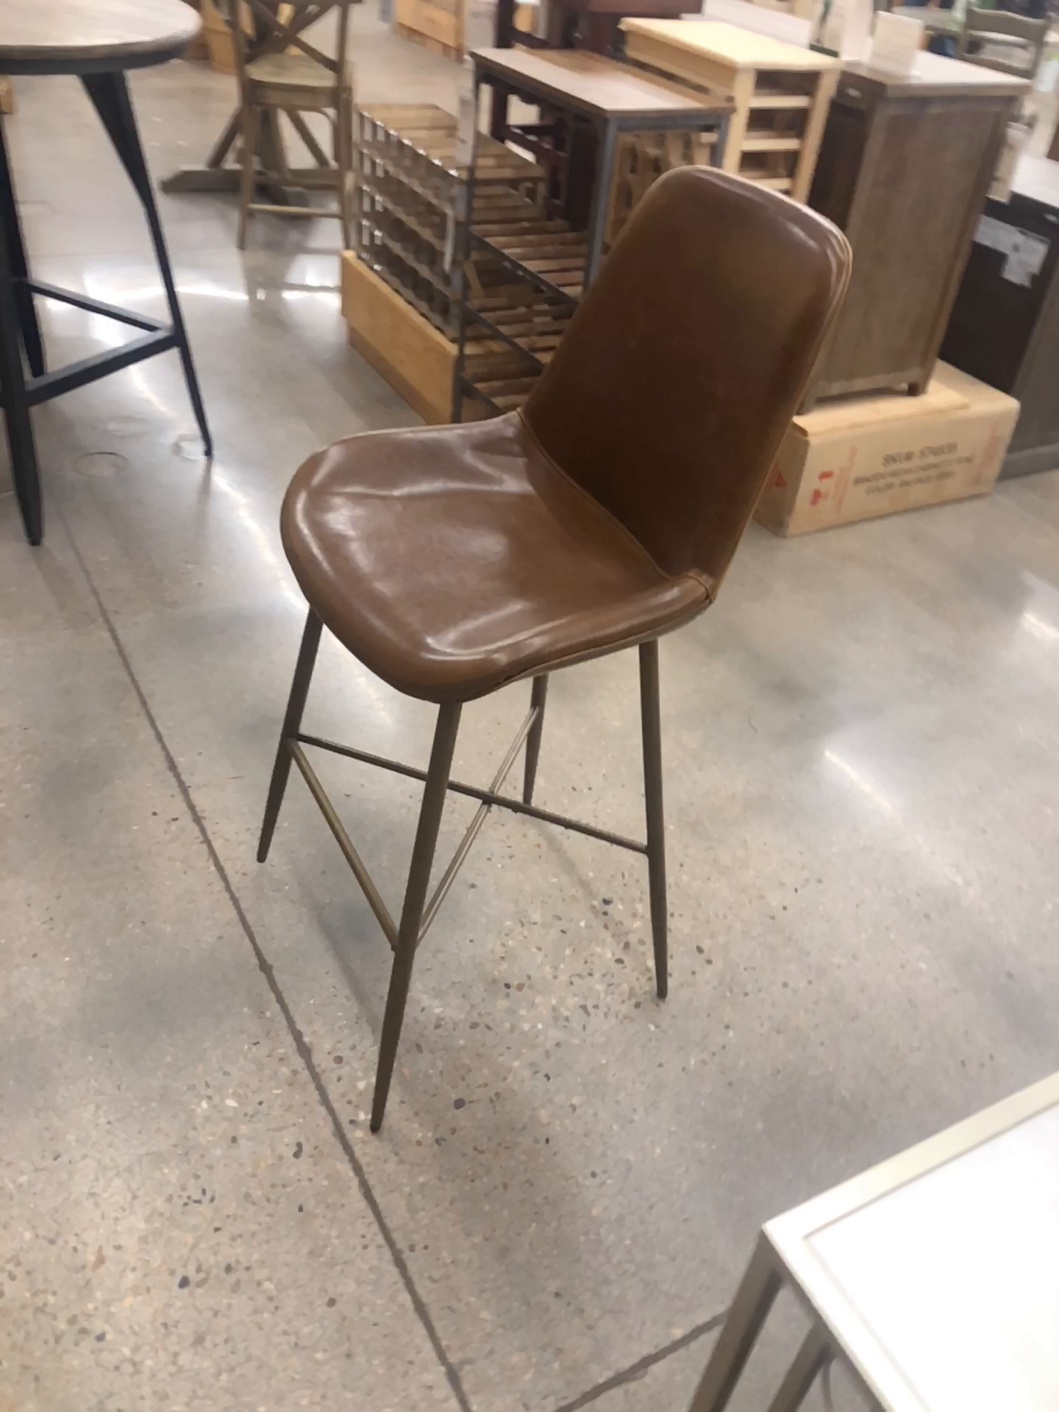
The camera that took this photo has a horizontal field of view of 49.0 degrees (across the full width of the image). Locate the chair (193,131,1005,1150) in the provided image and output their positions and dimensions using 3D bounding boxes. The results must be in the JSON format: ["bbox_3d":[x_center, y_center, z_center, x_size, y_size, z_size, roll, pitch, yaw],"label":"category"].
[{"bbox_3d":[-0.010,-0.092,1.490,0.611,1.054,0.605,-13,41,-24],"label":"chair"}]
